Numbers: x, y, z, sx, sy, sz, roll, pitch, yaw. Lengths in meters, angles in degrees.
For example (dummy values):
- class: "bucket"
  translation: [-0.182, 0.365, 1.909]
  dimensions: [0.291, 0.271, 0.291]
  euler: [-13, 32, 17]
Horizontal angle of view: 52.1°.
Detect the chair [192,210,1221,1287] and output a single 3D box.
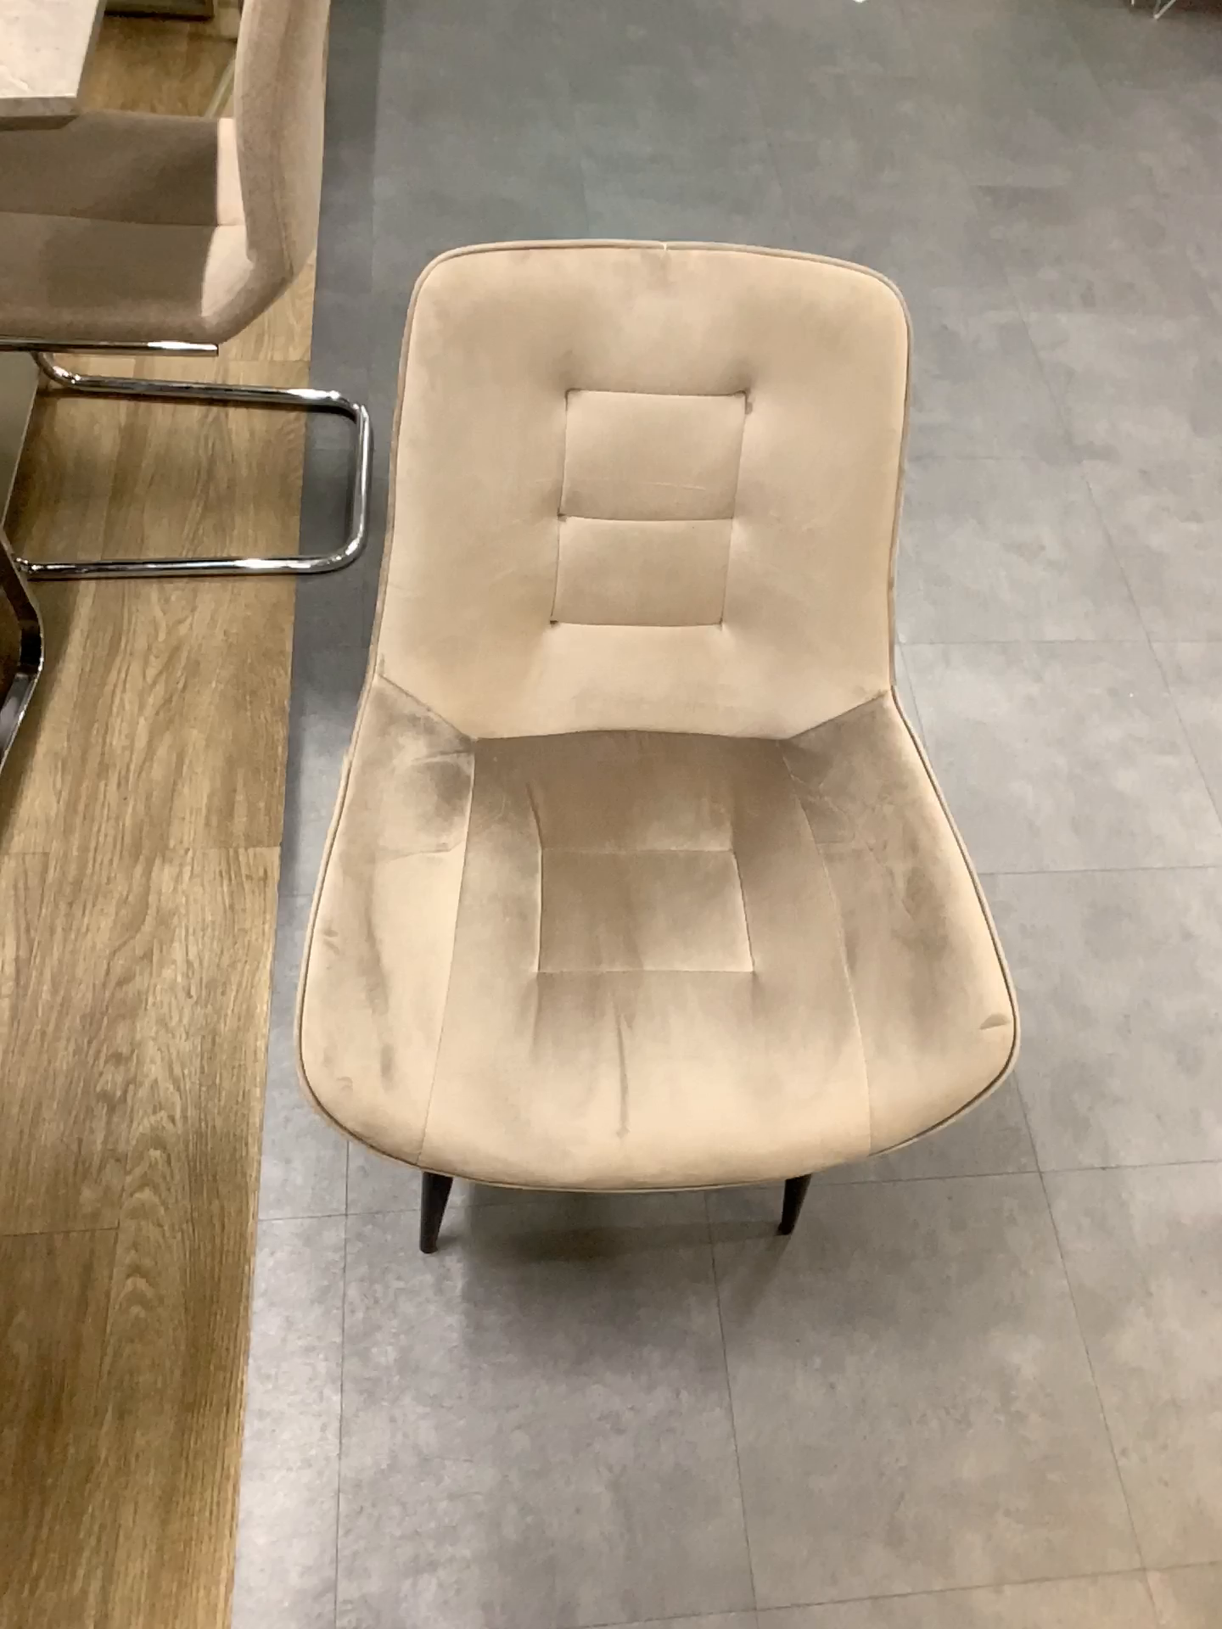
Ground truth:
- class: "chair"
  translation: [0.024, 0.020, 1.157]
  dimensions: [0.567, 0.819, 0.612]
  euler: [0, 58, -6]
